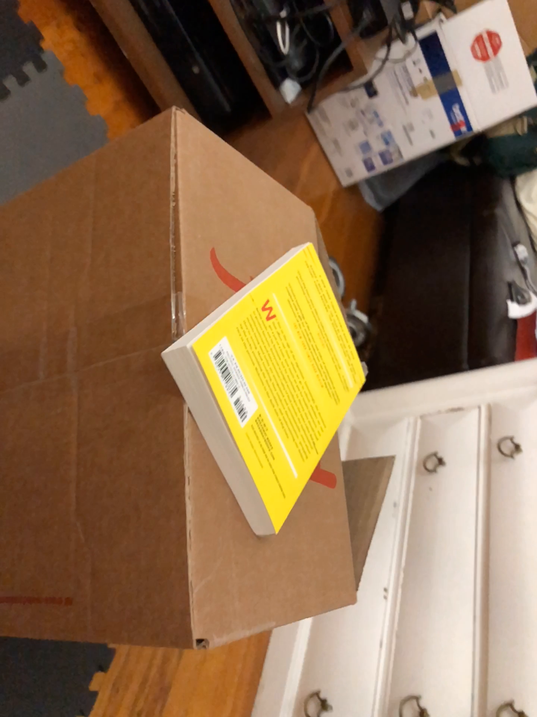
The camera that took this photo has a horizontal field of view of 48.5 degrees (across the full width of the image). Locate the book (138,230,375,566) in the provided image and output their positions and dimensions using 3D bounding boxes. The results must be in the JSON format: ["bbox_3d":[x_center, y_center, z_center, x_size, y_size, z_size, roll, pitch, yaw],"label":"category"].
[{"bbox_3d":[0.012,0.011,0.428,0.150,0.020,0.221,65,33,-16],"label":"book"}]
